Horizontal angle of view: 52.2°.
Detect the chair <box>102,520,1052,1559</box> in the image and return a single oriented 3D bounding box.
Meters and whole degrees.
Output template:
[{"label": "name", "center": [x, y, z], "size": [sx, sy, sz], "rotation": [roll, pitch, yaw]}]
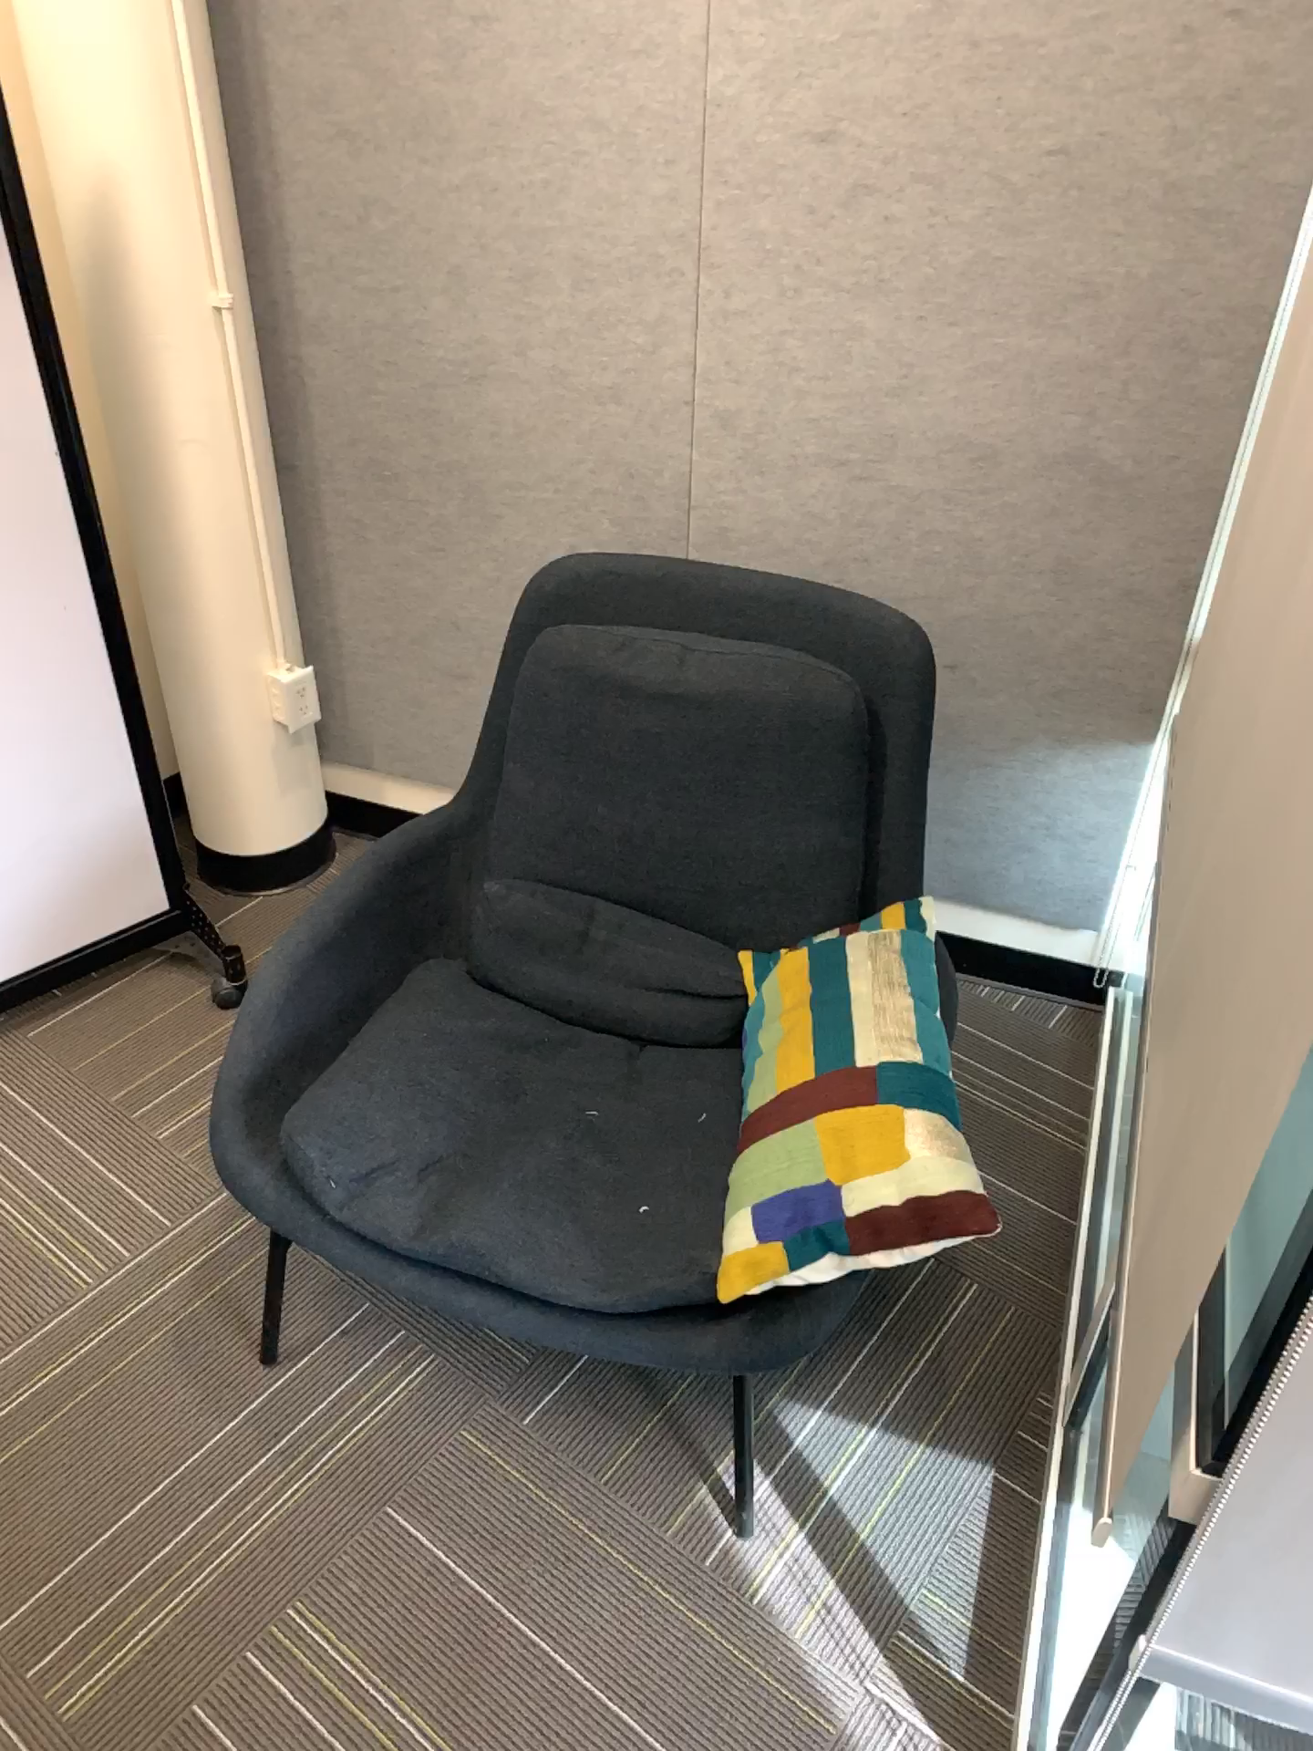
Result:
[{"label": "chair", "center": [-0.026, 0.131, 1.895], "size": [0.791, 0.815, 1.004], "rotation": [17, 39, 20]}]
